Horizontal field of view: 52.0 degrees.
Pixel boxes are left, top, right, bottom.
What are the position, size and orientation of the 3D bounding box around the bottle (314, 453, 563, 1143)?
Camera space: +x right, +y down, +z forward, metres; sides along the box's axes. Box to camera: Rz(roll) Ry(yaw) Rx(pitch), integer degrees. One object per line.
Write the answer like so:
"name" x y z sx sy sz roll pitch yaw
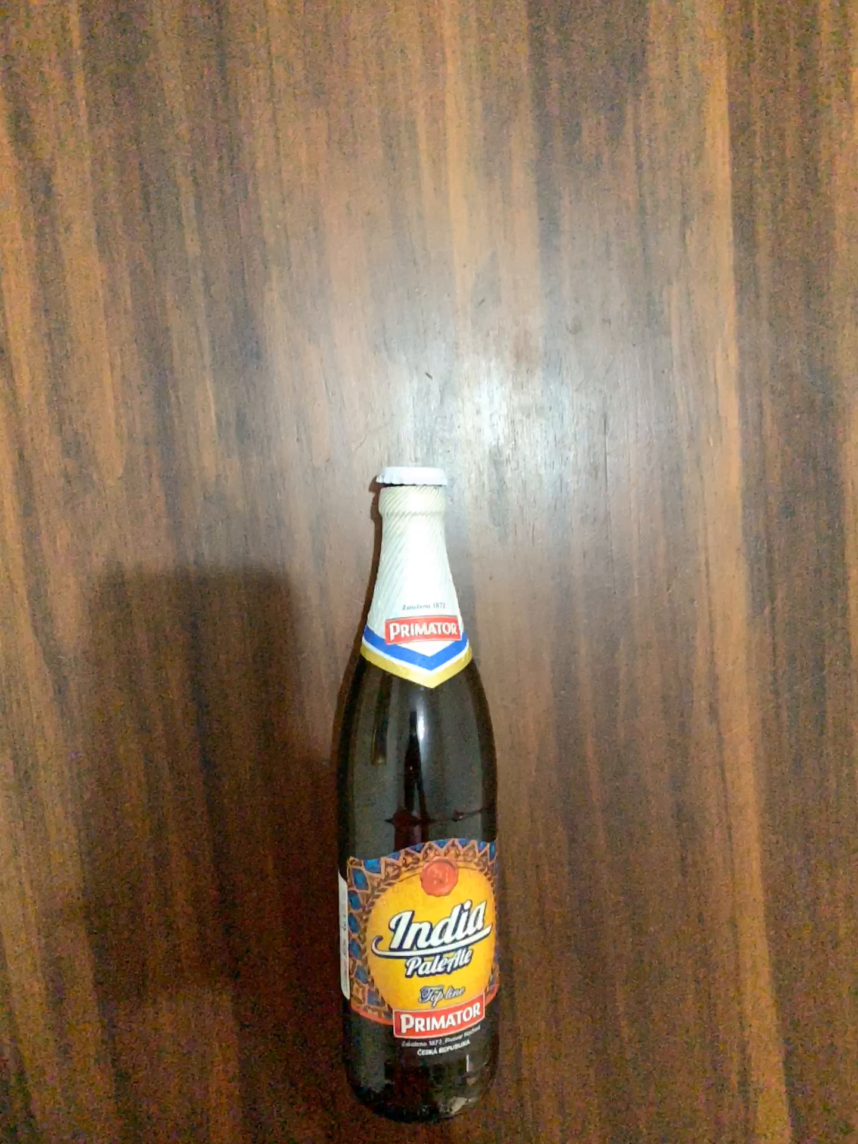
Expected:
"bottle" 0.003 0.085 0.358 0.080 0.060 0.260 -3 95 -13
